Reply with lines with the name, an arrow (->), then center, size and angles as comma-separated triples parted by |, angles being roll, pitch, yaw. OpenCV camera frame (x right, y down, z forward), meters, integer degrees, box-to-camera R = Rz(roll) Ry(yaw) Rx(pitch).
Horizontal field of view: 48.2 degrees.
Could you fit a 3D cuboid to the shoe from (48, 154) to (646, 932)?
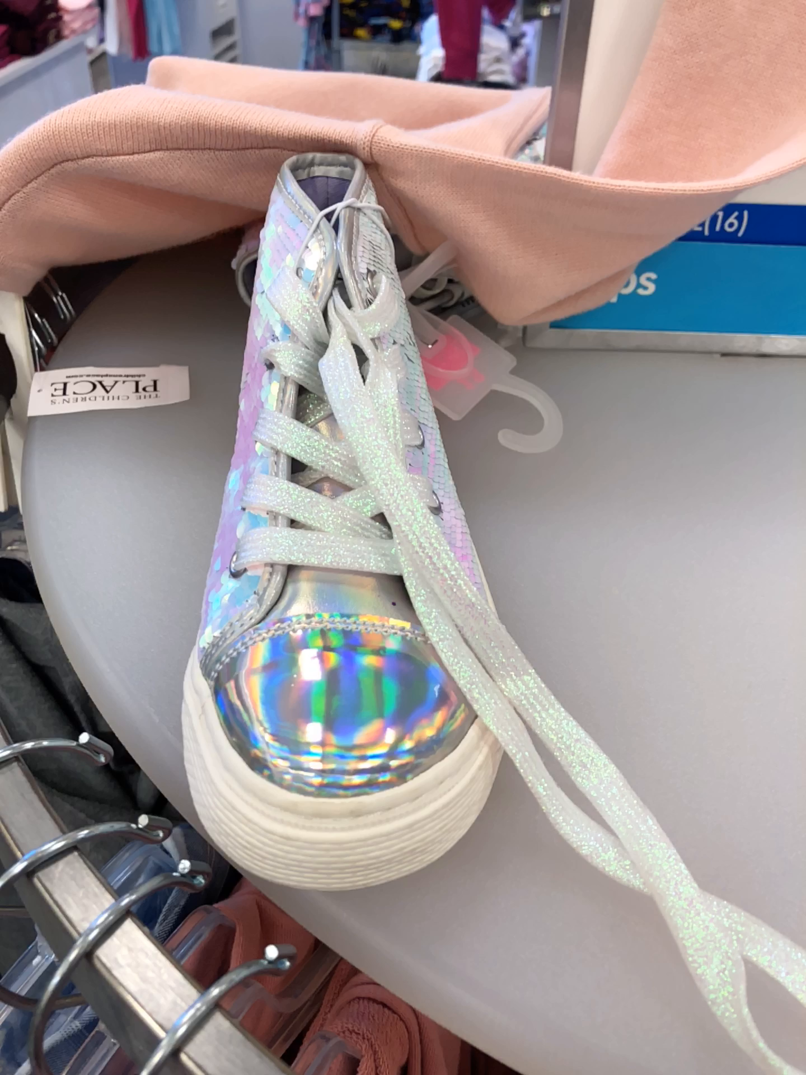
shoe -> -0.015, -0.021, 0.251 | 0.090, 0.105, 0.212 | -1, 38, -4
